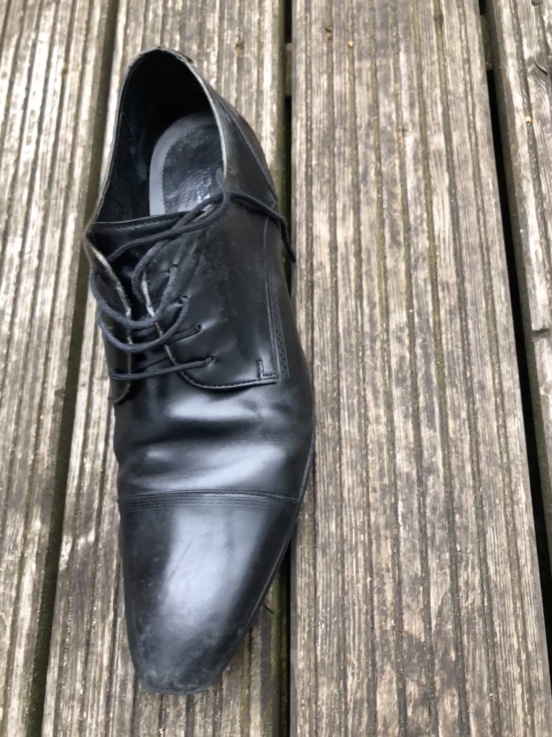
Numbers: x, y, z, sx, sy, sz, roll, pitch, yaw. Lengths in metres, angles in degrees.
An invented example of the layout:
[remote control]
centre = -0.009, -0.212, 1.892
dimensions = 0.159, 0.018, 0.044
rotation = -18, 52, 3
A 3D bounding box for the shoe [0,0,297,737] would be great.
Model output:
[shoe]
centre = -0.051, -0.013, 0.326
dimensions = 0.090, 0.150, 0.341
rotation = -4, 73, 11
